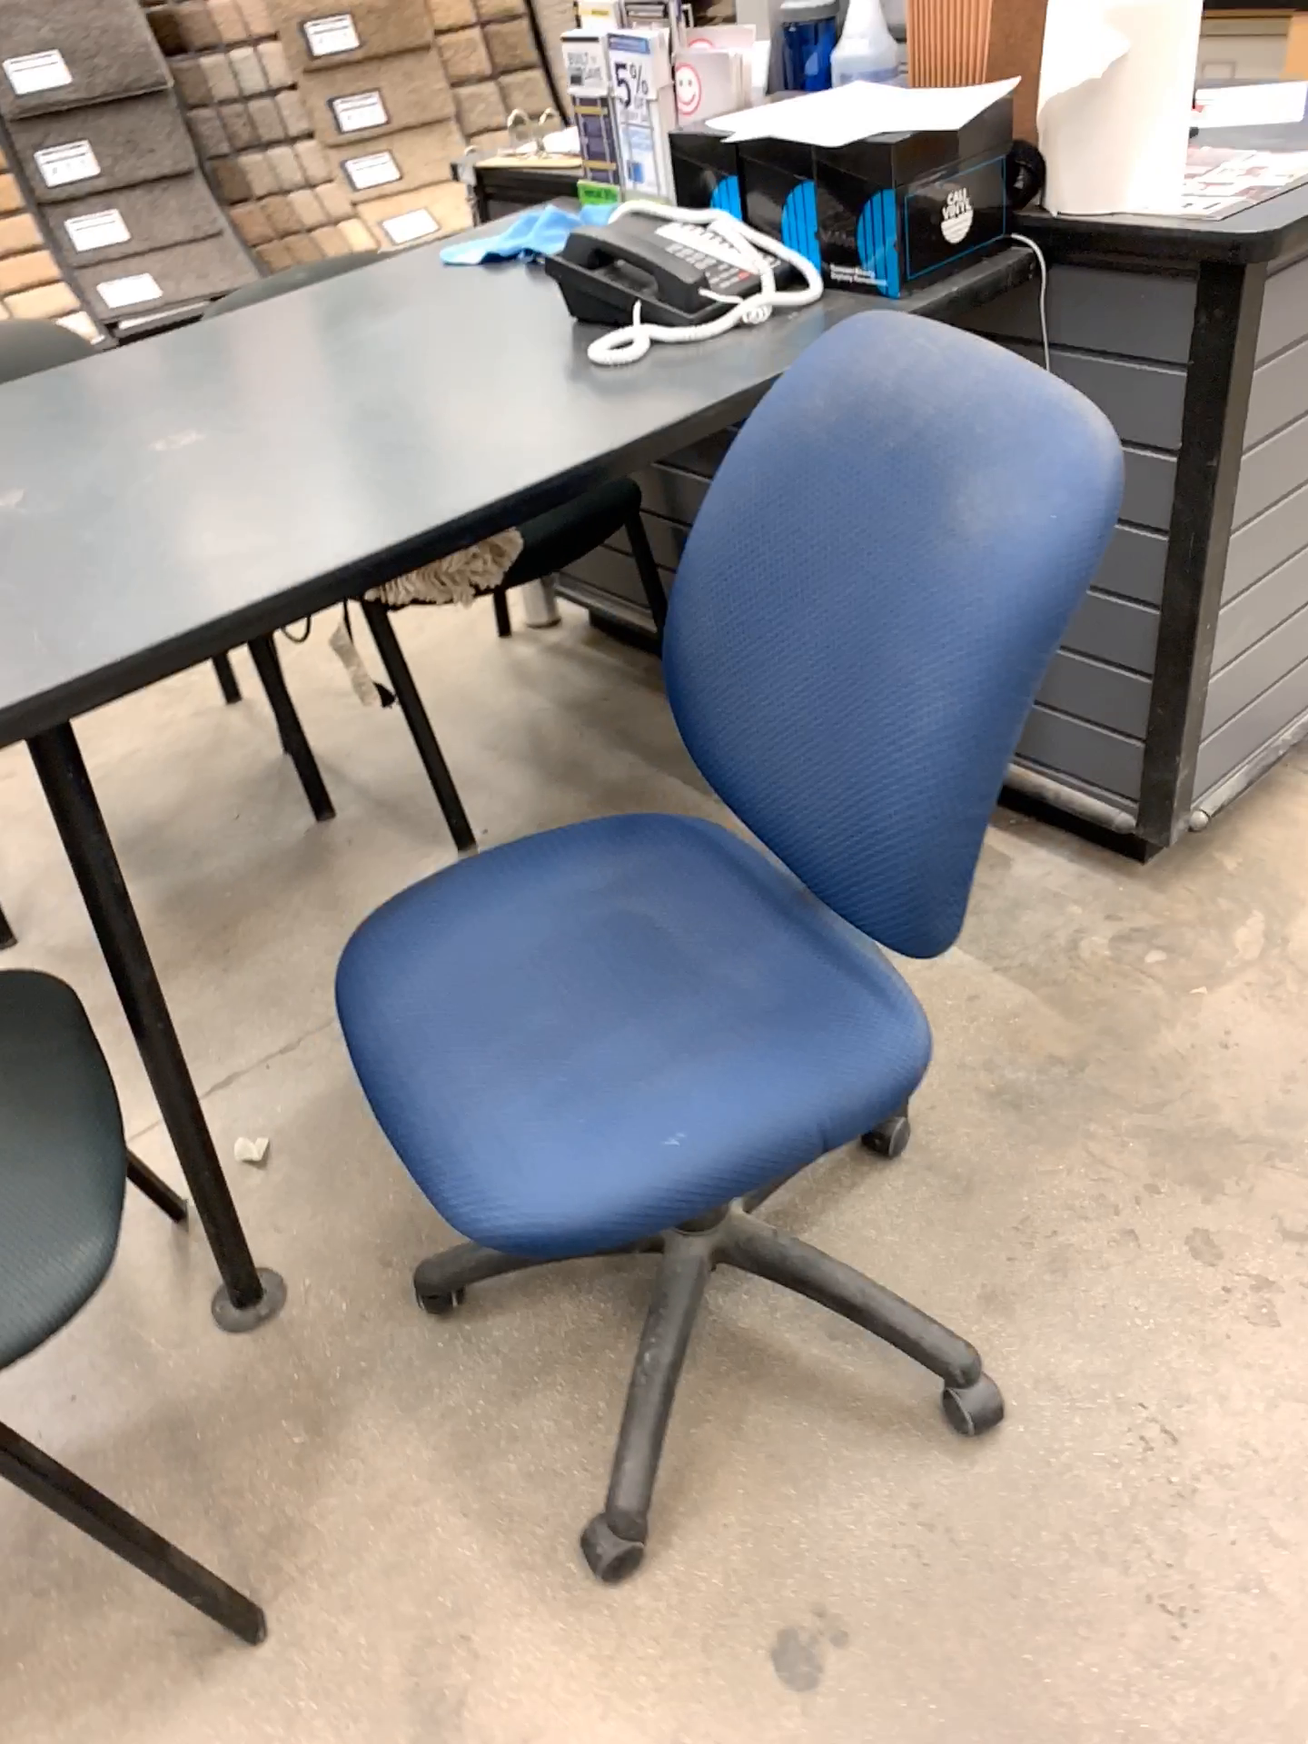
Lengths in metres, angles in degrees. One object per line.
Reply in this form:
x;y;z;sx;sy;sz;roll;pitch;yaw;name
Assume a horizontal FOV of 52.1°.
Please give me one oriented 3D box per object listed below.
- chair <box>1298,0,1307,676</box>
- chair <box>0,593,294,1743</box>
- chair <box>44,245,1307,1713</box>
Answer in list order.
1.560;-1.101;2.161;0.702;1.227;0.850;10;40;24;chair
-0.726;0.306;1.130;0.541;0.800;0.570;-18;37;-13;chair
0.016;0.038;1.191;0.662;0.889;0.700;-23;39;-19;chair
